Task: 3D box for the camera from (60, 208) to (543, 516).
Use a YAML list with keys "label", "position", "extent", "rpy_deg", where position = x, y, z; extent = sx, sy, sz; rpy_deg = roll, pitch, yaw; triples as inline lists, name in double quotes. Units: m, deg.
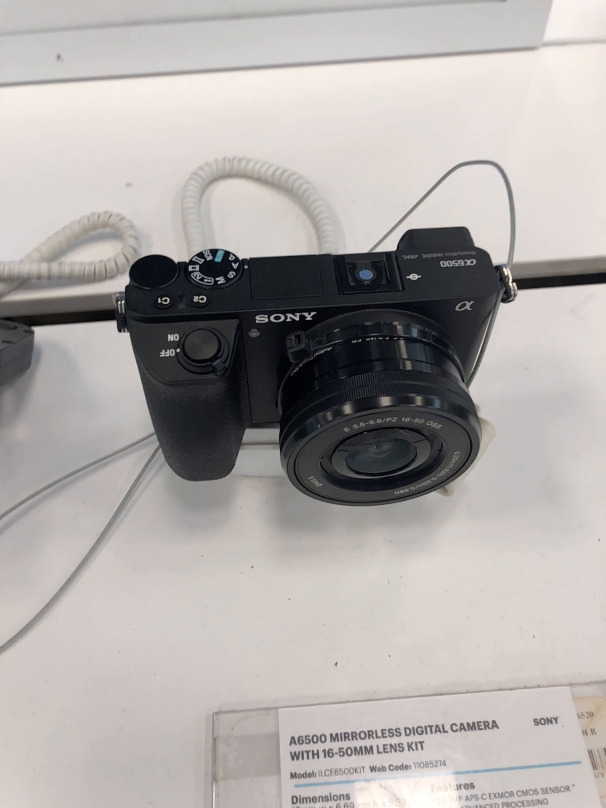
- label: "camera"
  position: [-0.001, -0.013, 0.231]
  extent: [0.130, 0.070, 0.070]
  rpy_deg: [-3, 55, -1]
